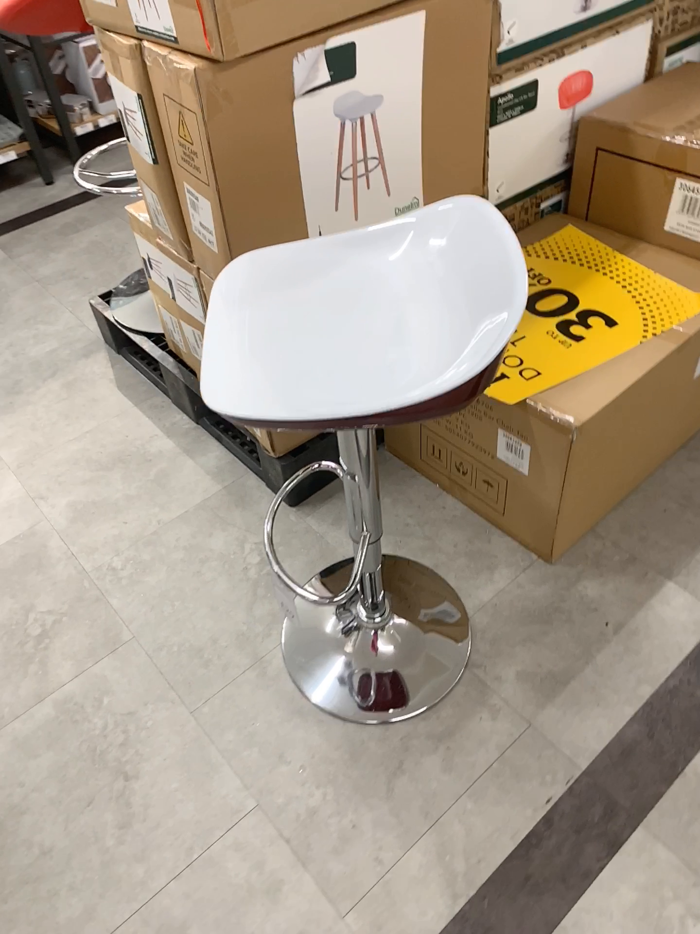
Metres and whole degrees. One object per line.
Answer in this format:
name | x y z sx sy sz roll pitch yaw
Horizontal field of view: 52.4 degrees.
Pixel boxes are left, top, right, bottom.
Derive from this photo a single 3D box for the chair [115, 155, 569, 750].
chair | 0.004 0.029 1.109 0.434 0.792 0.439 -8 45 -1
